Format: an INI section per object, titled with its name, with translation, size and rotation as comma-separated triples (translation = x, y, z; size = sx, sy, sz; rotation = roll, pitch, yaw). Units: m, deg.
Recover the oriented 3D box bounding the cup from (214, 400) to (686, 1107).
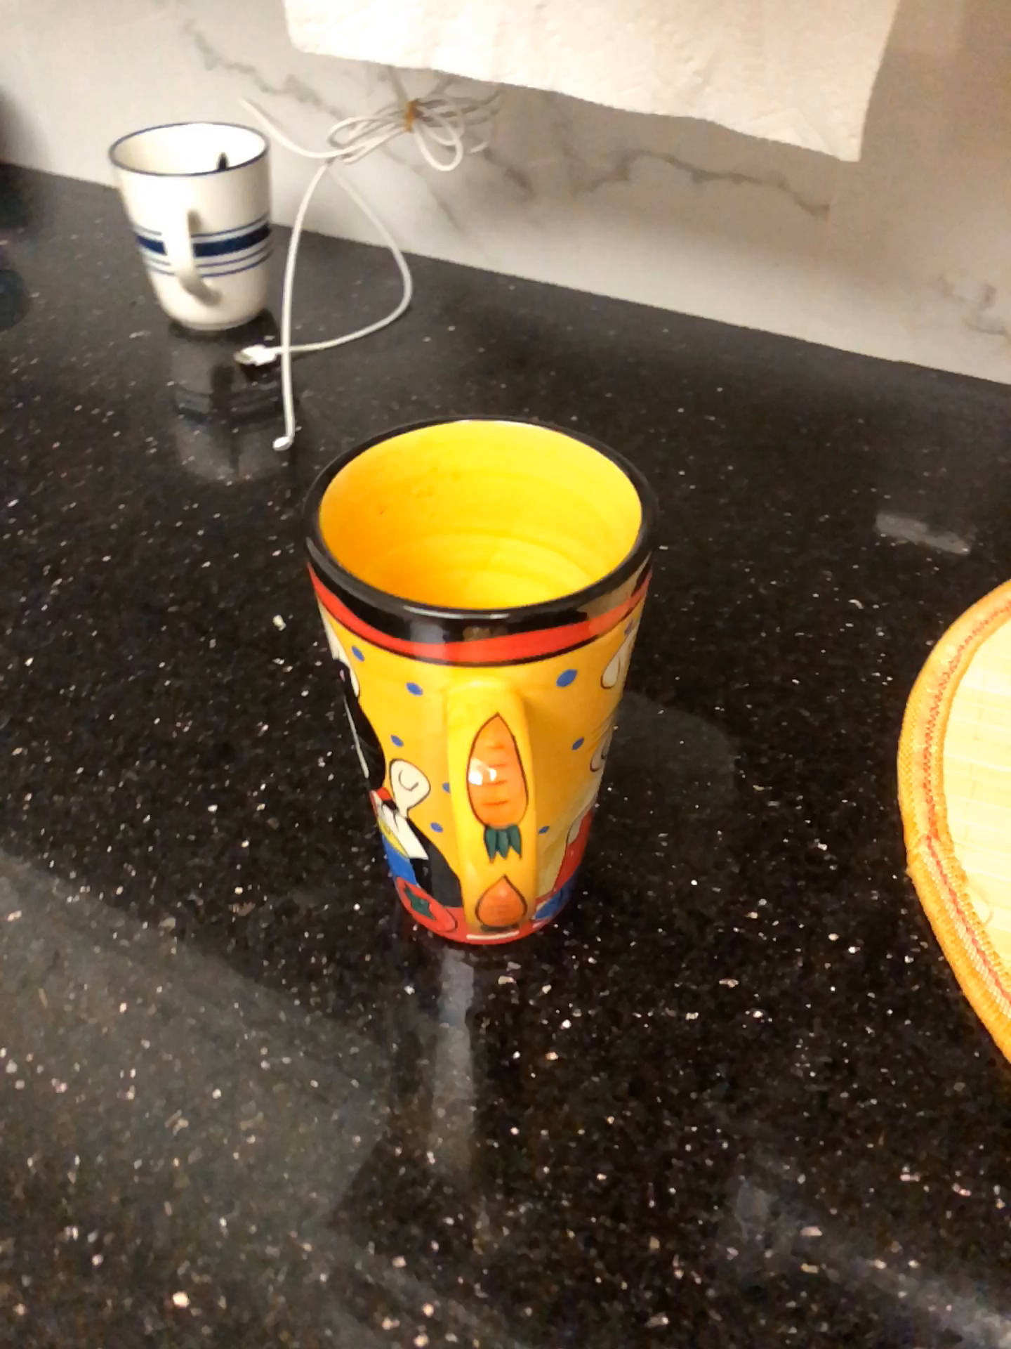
[cup]
translation = -0.014, 0.021, 0.308
size = 0.090, 0.139, 0.131
rotation = -2, 43, -3
